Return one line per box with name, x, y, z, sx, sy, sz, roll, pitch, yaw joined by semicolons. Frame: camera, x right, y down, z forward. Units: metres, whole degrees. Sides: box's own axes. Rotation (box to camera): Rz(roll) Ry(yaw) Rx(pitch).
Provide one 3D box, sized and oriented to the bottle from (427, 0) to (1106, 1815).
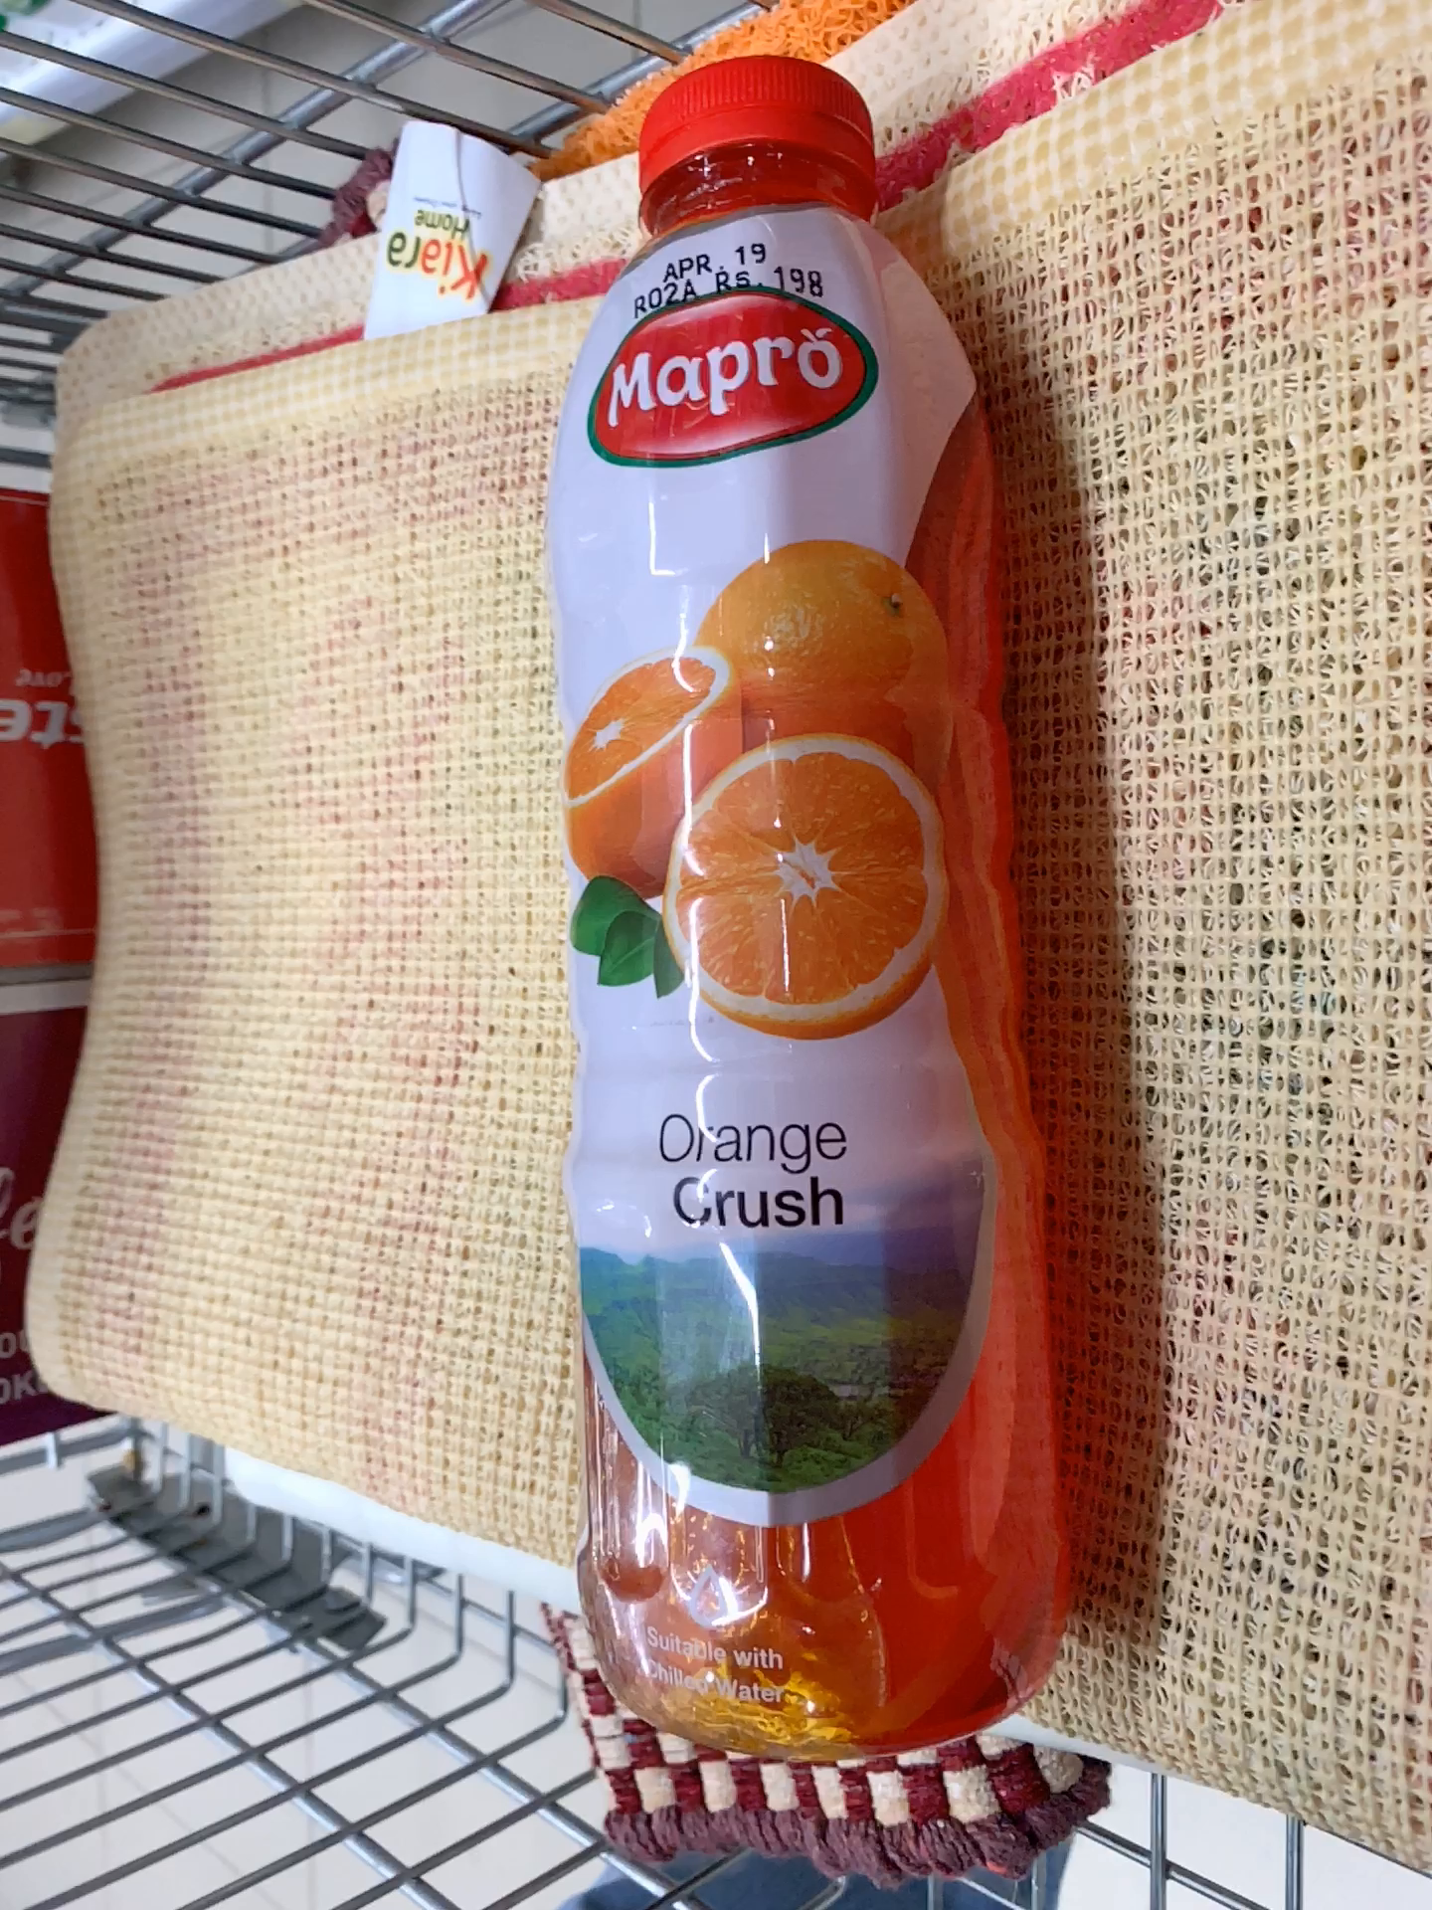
bottle;0.012;-0.020;0.218;0.080;0.070;0.240;-1;89;18
